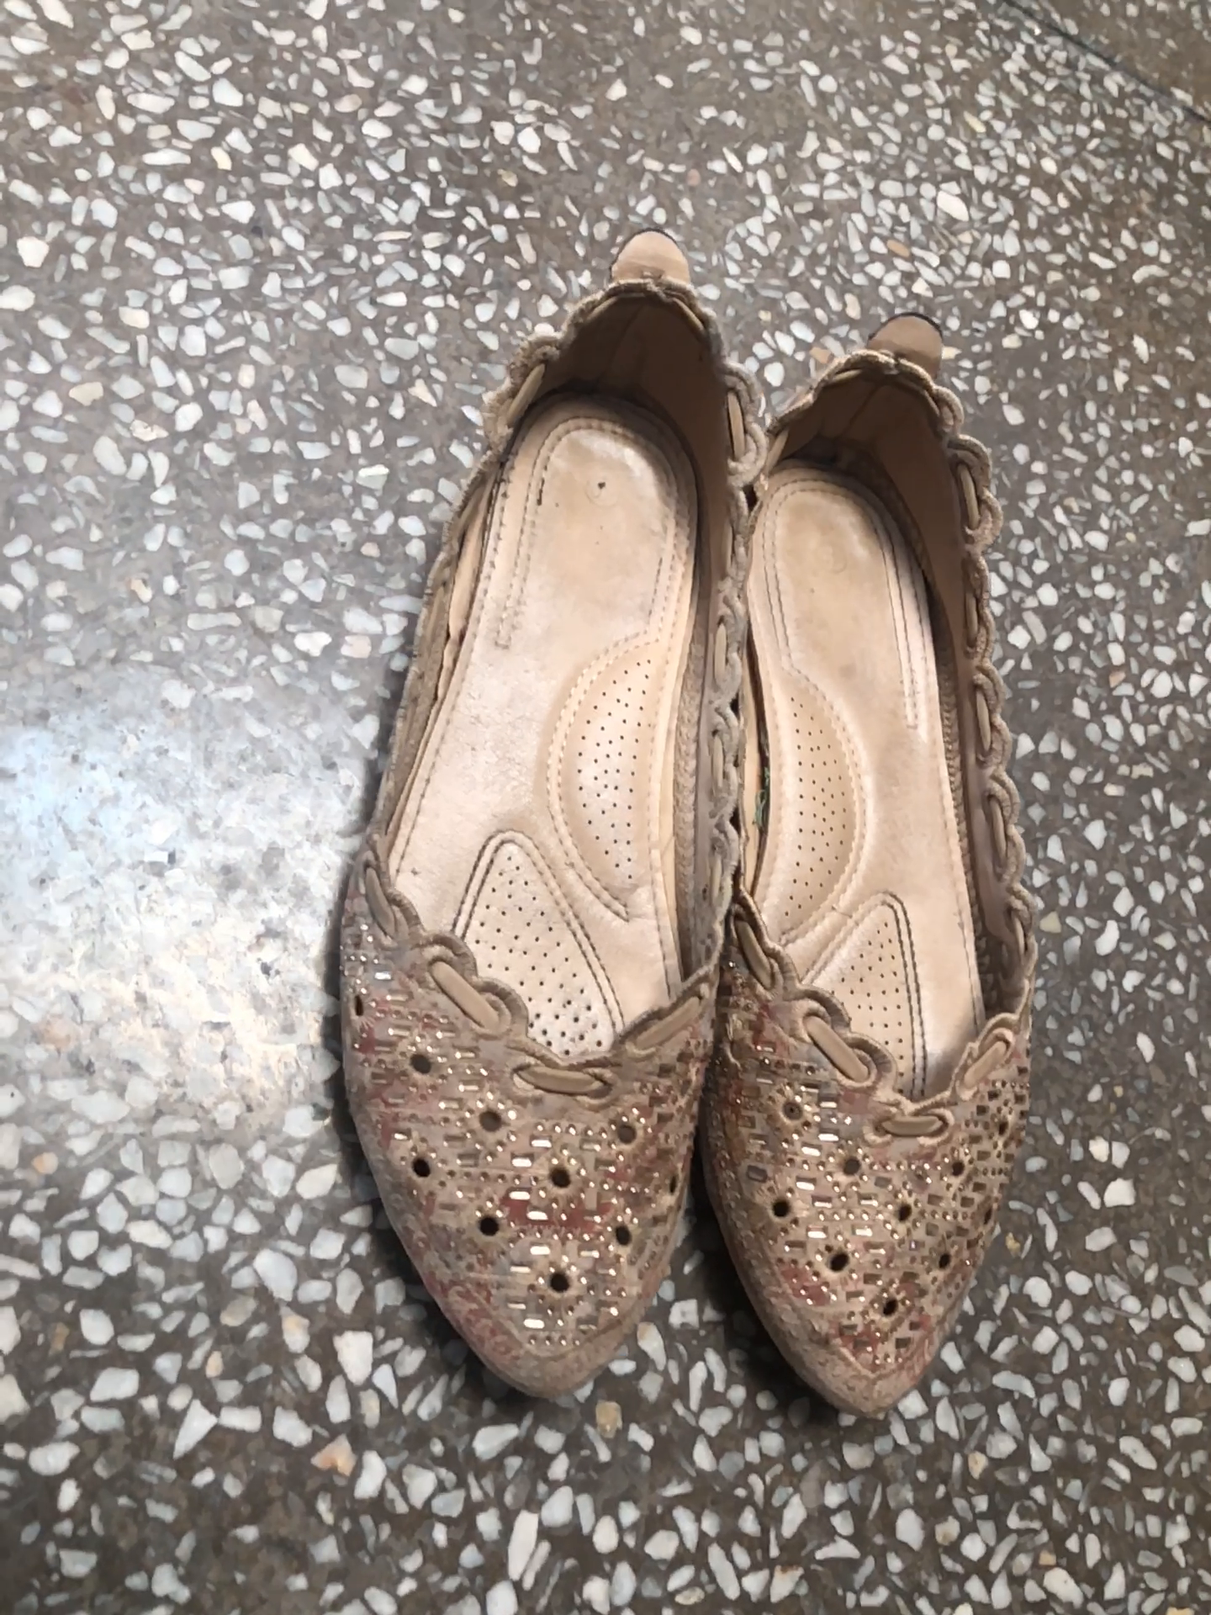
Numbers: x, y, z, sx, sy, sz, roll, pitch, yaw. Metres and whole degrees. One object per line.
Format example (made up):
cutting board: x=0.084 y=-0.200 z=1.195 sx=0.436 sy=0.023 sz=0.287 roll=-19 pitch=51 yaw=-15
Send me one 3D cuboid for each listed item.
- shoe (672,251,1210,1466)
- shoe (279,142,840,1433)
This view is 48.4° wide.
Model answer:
shoe: x=0.073 y=0.007 z=0.317 sx=0.089 sy=0.068 sz=0.254 roll=6 pitch=71 yaw=-19
shoe: x=-0.006 y=-0.007 z=0.295 sx=0.089 sy=0.068 sz=0.254 roll=9 pitch=70 yaw=-18
